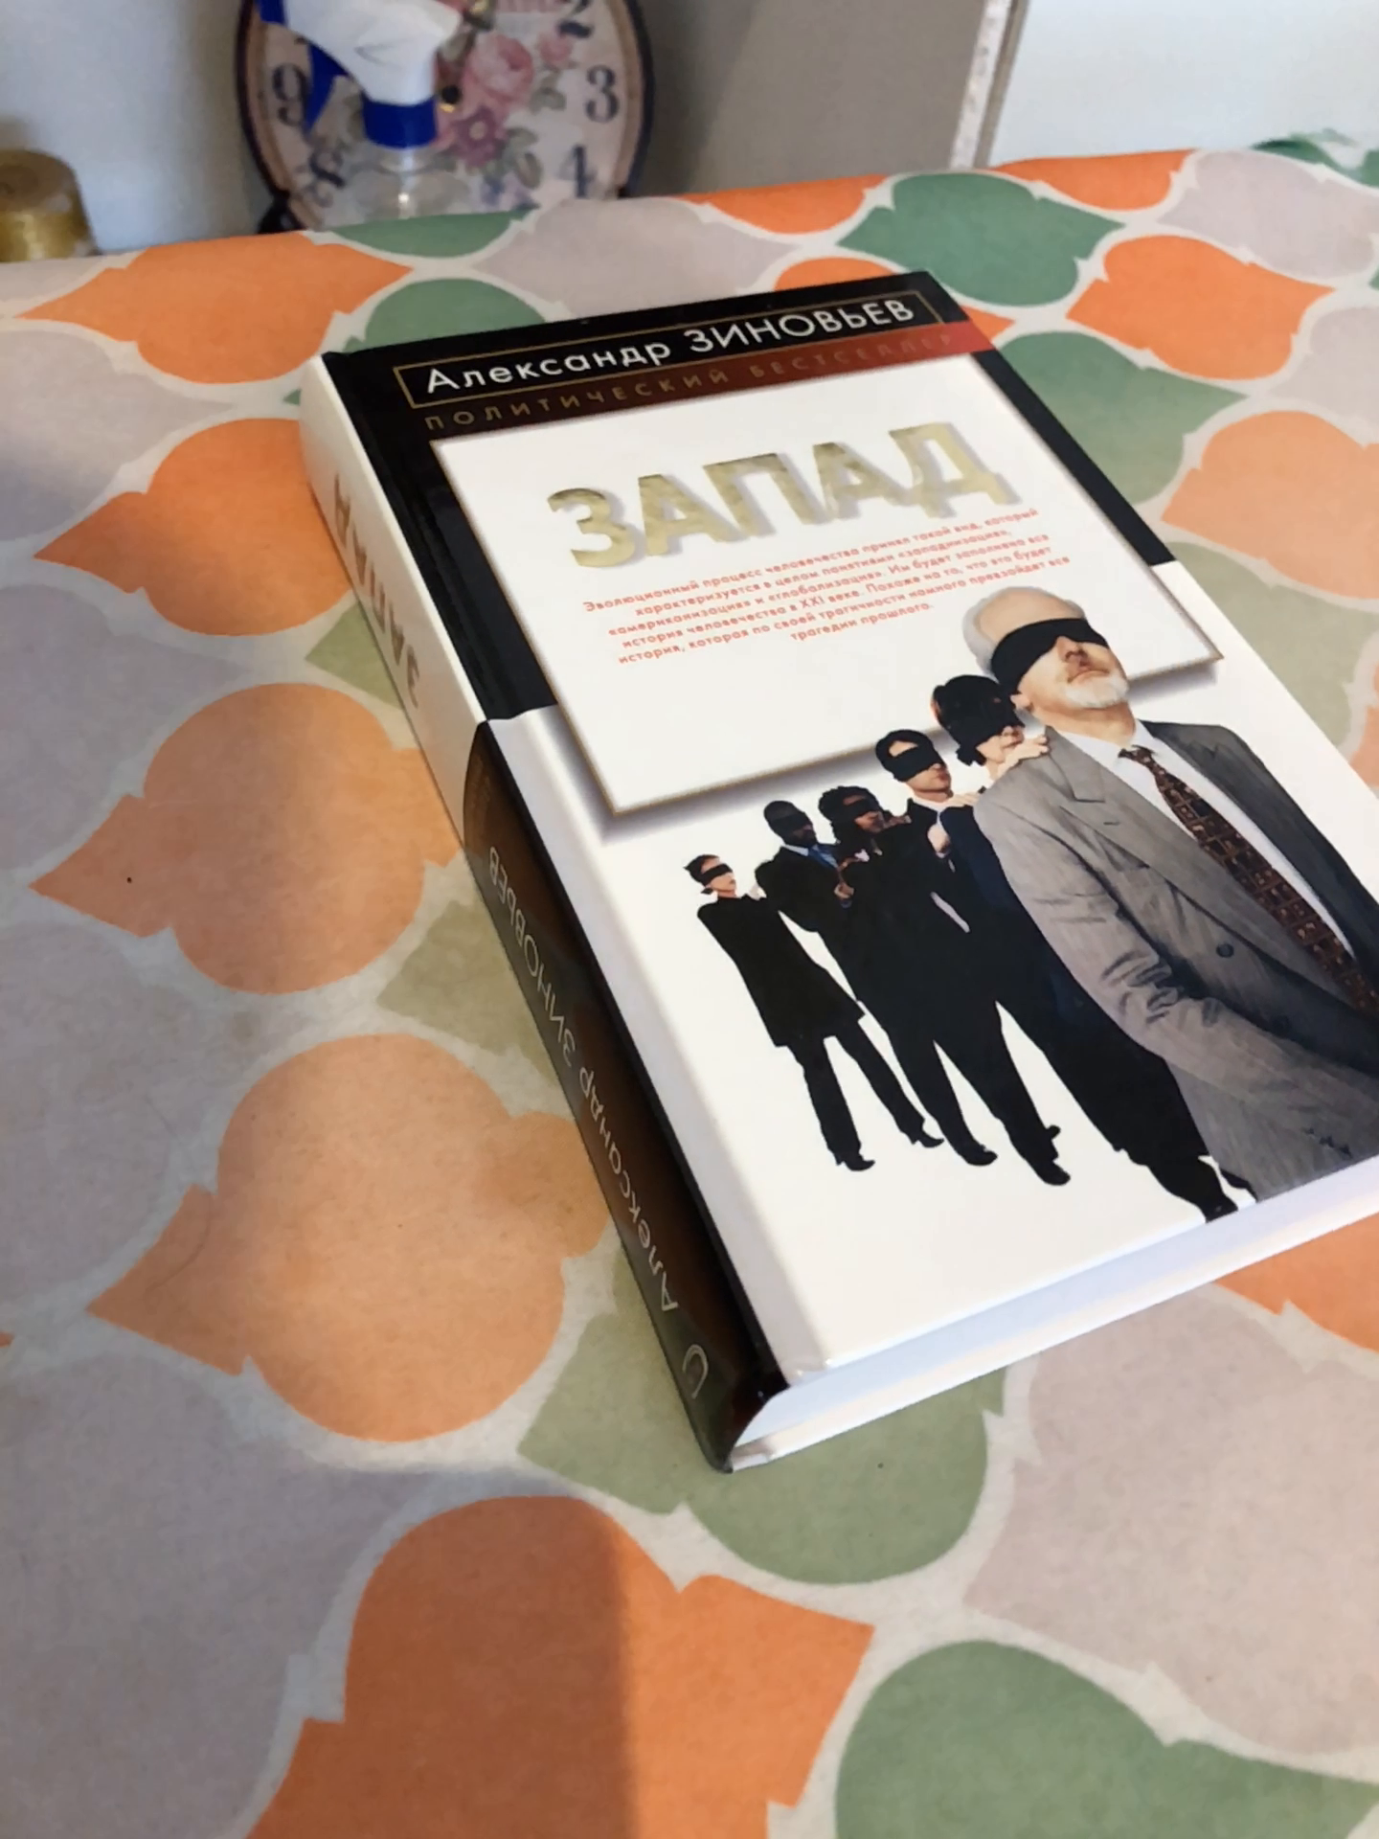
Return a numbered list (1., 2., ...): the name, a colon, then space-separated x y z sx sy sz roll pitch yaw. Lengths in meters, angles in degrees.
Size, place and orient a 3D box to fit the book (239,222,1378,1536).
1. book: 0.022 -0.034 0.261 0.140 0.040 0.221 -15 56 -18
